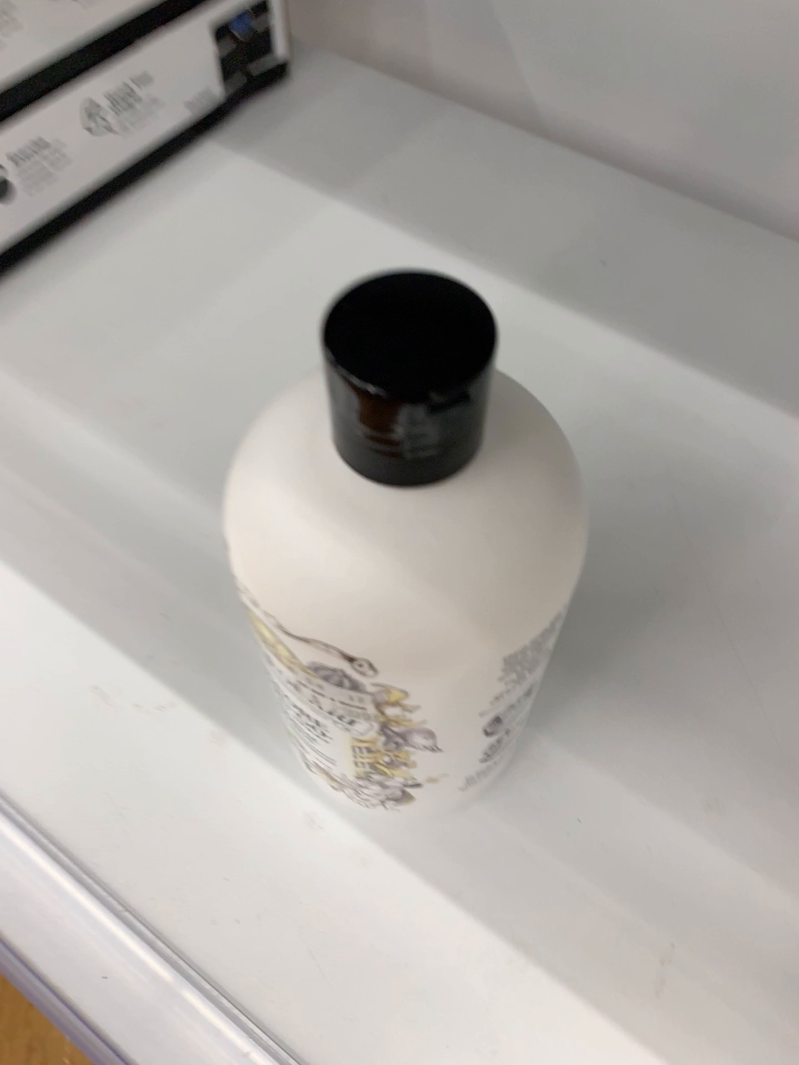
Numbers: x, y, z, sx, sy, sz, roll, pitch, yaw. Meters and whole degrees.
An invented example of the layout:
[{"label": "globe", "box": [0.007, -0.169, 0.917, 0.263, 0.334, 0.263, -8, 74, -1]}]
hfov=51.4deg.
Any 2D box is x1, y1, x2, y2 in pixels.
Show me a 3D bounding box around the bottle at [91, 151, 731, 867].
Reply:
[{"label": "bottle", "box": [0.001, 0.011, 0.196, 0.073, 0.153, 0.070, 0, 58, -1]}]
